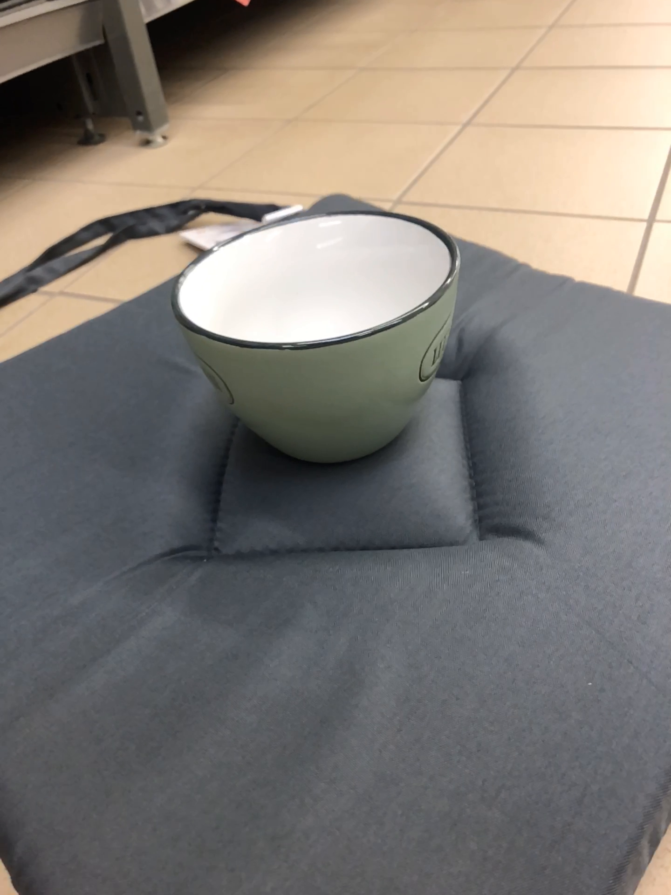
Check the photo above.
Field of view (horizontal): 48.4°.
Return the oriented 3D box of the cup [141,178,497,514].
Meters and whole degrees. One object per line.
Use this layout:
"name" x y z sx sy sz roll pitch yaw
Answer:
"cup" -0.002 -0.050 0.325 0.120 0.070 0.141 -5 40 4
